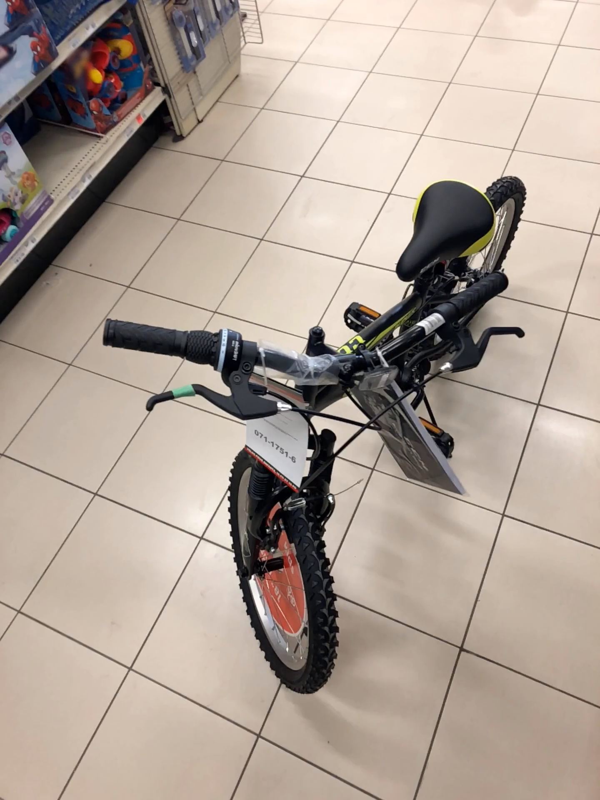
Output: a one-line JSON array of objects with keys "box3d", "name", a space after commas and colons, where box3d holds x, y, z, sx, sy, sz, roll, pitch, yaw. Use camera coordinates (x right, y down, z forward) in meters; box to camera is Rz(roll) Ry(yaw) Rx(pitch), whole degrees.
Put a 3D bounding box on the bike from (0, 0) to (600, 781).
[{"box3d": [0.234, -0.105, 1.185, 0.549, 0.862, 1.197, 19, 61, 20], "name": "bike"}]
